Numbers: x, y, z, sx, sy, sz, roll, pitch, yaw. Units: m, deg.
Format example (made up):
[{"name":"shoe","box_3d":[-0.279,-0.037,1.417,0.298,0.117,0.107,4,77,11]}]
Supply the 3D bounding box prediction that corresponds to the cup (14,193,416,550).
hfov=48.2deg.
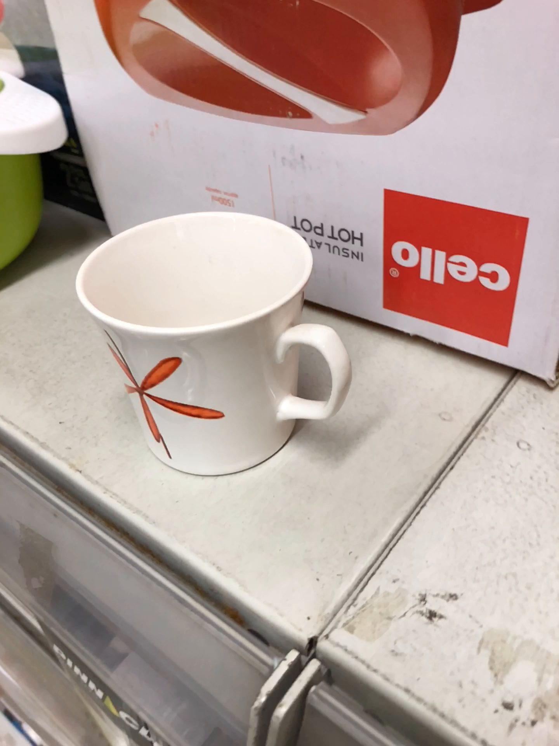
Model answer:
[{"name":"cup","box_3d":[-0.016,-0.007,0.211,0.100,0.070,0.070,16,43,25]}]
